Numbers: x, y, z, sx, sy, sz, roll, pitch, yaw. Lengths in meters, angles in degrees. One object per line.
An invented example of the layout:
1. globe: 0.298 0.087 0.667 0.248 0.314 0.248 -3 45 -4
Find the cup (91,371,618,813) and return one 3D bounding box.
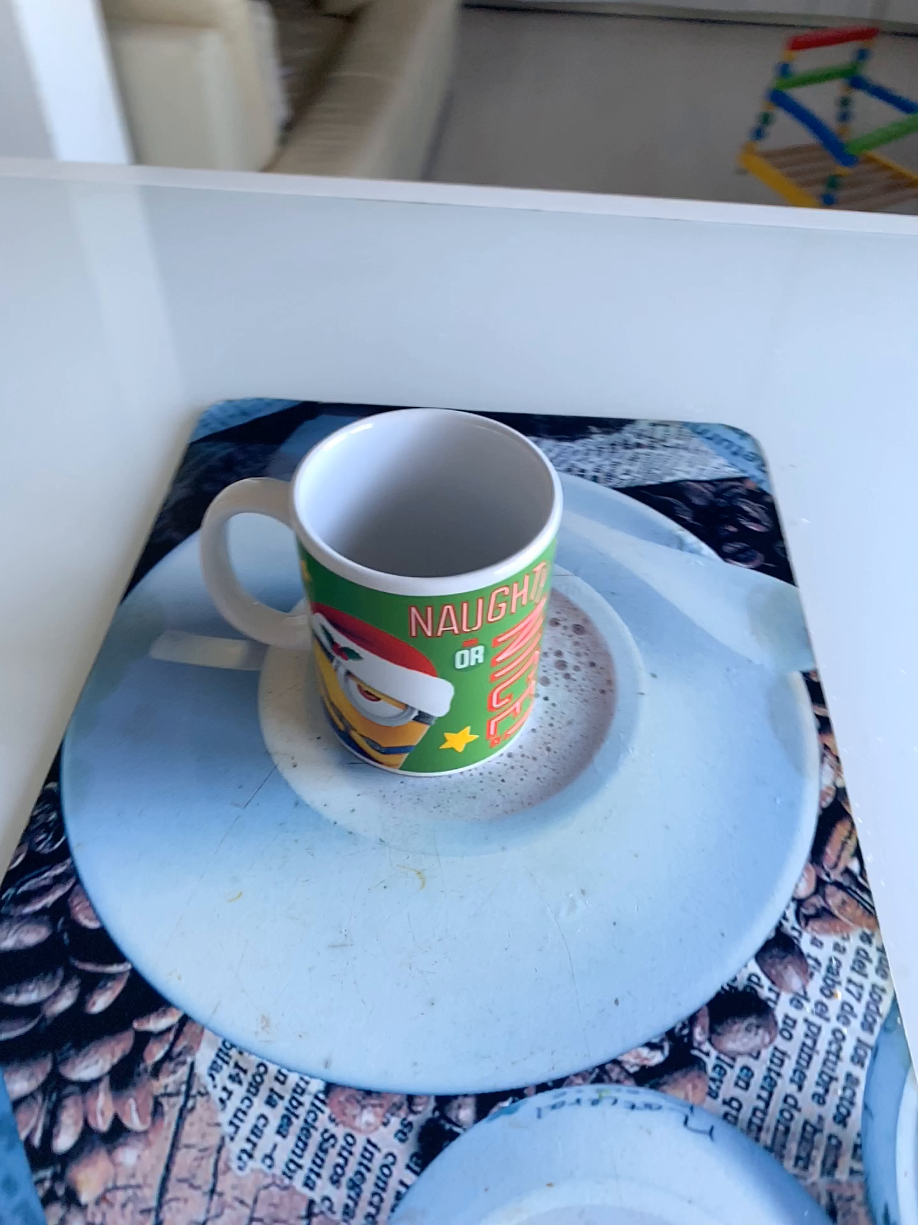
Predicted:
1. cup: -0.026 -0.010 0.310 0.133 0.077 0.094 12 48 9
